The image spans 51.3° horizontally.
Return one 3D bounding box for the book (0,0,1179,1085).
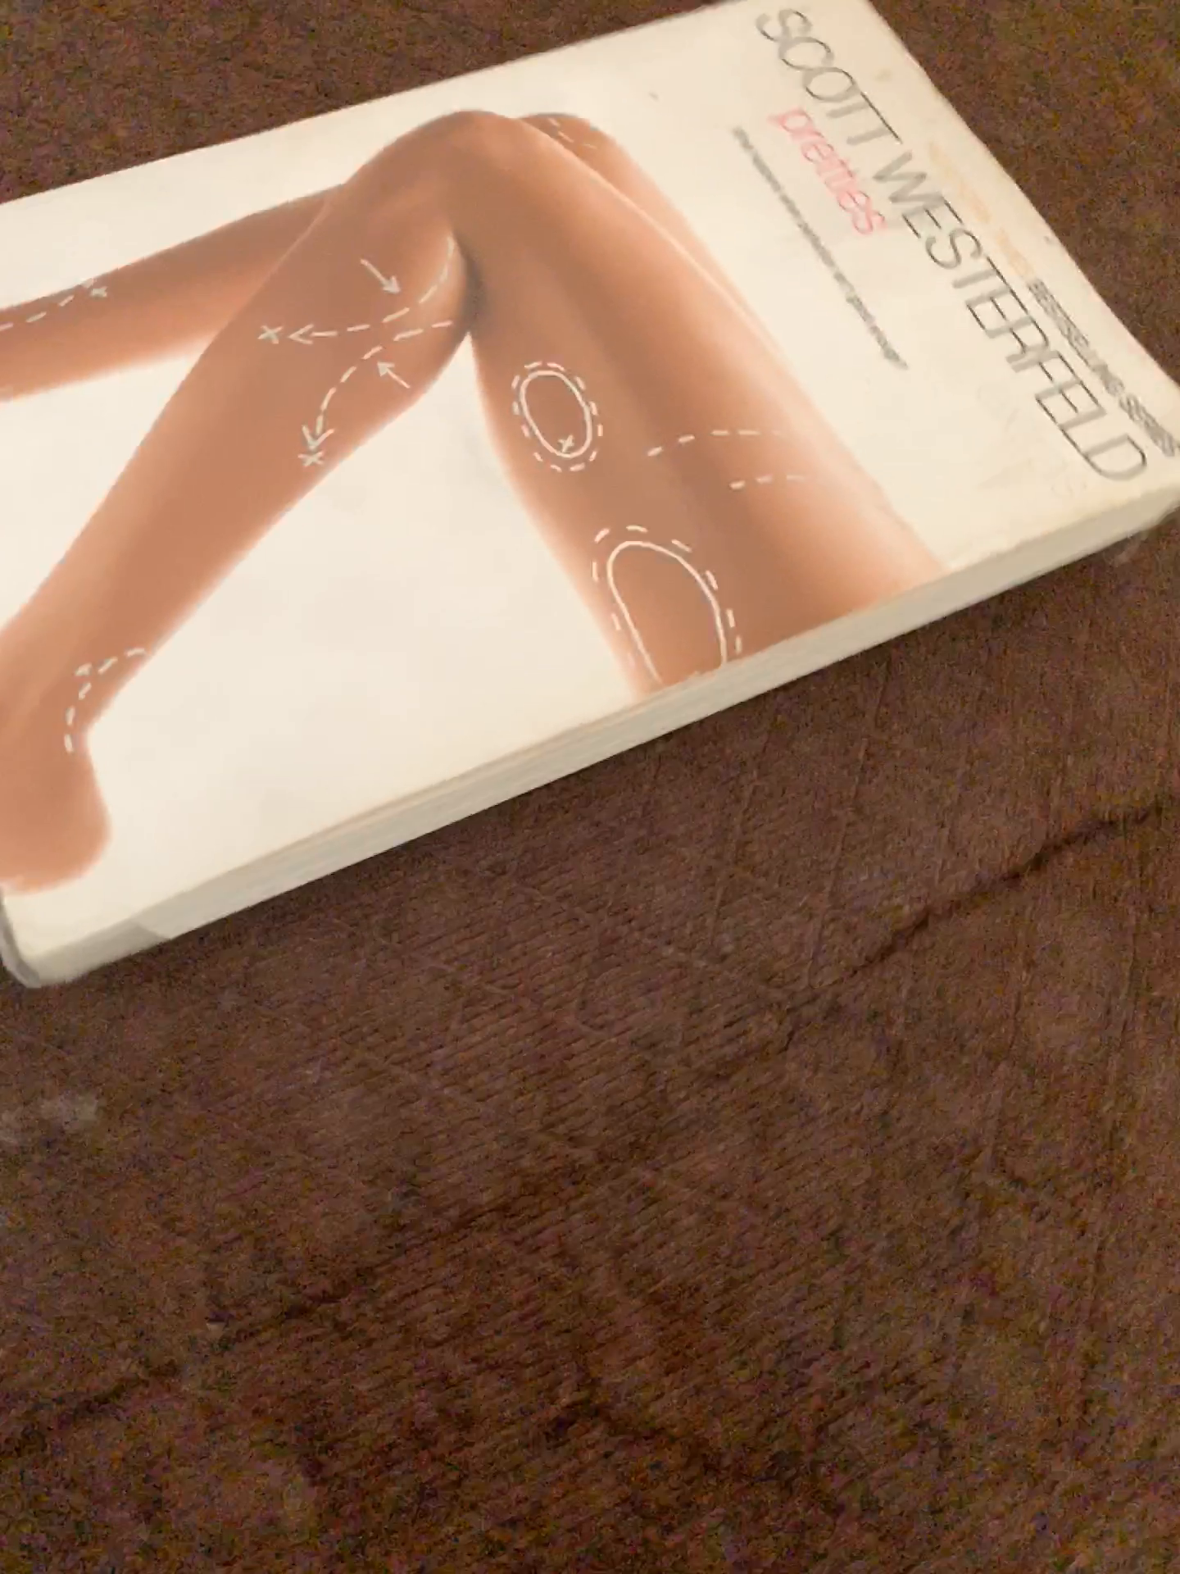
[{"bbox_3d":[-0.006,-0.066,0.220,0.220,0.030,0.150,-23,70,-12],"label":"book"}]
